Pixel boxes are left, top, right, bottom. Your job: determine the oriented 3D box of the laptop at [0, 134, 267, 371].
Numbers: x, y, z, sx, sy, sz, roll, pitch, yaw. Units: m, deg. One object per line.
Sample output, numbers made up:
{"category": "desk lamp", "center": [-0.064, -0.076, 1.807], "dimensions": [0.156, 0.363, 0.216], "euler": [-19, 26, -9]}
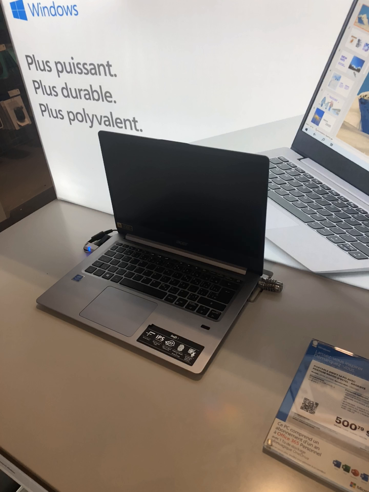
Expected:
{"category": "laptop", "center": [-0.066, -0.015, 0.630], "dimensions": [0.312, 0.210, 0.226], "euler": [16, 40, 27]}
